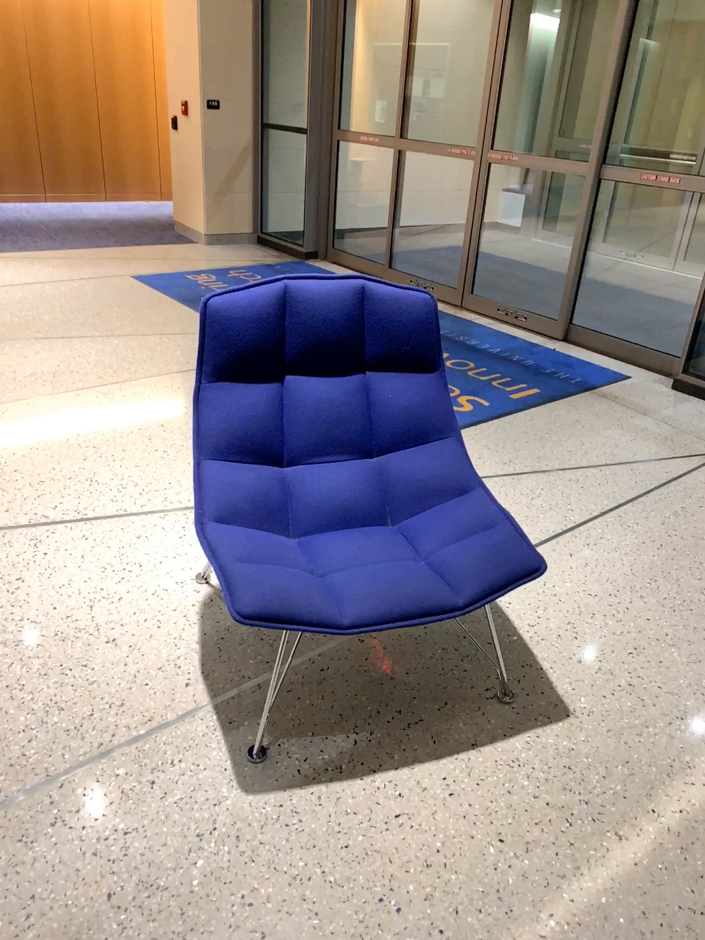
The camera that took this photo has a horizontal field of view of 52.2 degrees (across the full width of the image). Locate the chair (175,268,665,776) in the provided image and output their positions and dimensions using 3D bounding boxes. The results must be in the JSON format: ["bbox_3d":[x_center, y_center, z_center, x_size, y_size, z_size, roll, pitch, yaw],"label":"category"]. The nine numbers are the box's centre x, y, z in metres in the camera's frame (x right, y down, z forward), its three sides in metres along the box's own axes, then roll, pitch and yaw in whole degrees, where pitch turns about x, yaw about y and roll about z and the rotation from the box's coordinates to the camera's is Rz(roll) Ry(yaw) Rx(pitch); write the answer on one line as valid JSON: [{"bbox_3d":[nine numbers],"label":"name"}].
[{"bbox_3d":[0.052,0.037,1.803,0.855,0.894,0.800,-5,28,-18],"label":"chair"}]
